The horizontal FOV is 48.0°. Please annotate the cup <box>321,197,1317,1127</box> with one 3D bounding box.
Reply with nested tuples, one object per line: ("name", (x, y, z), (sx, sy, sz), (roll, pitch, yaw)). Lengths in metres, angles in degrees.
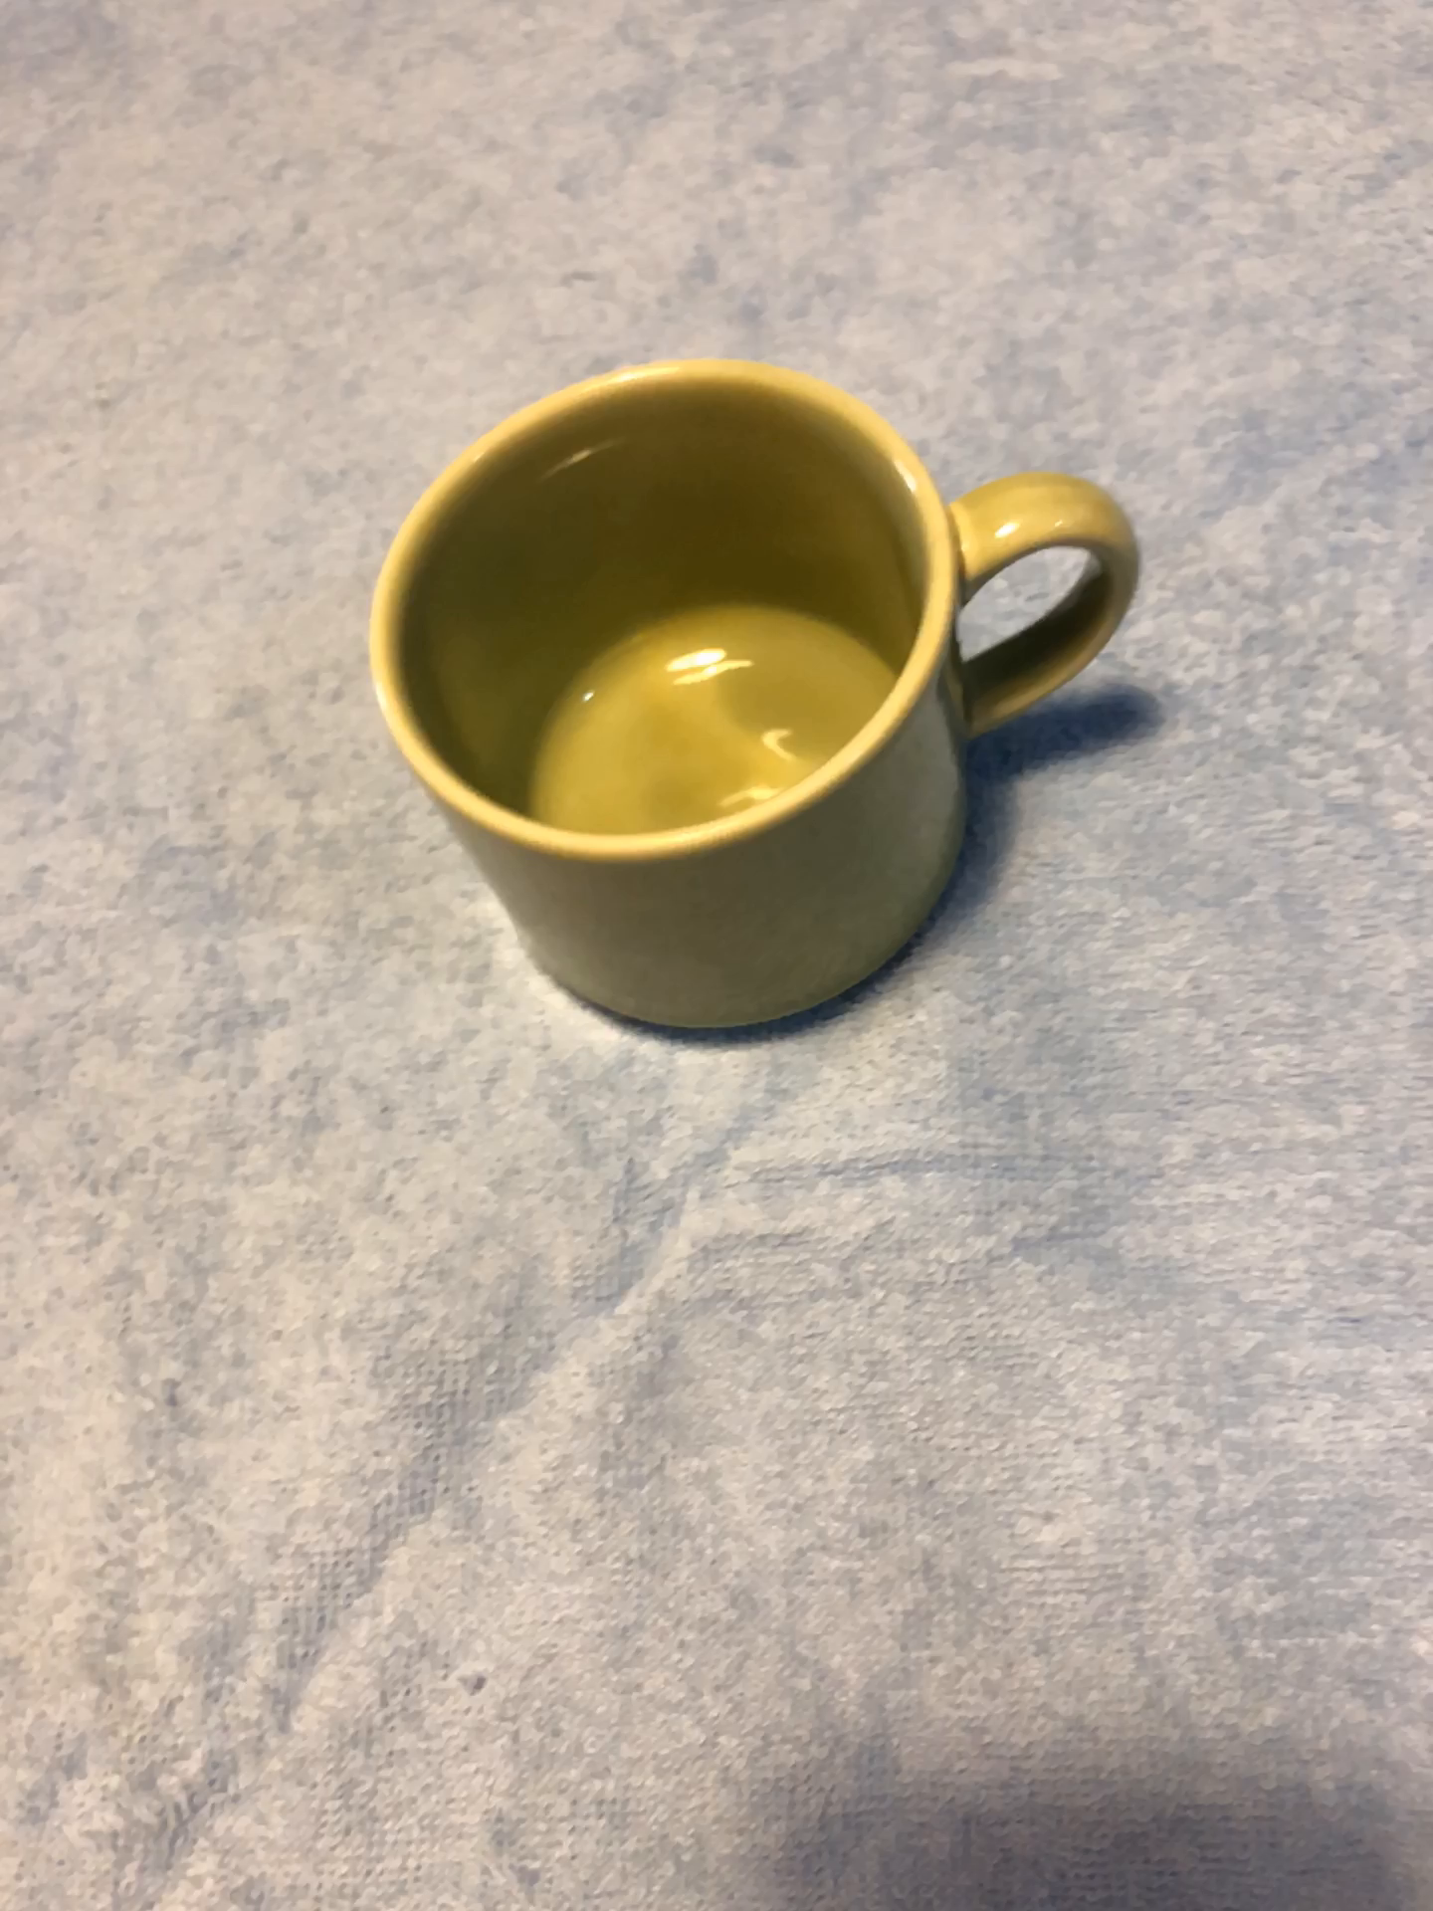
("cup", (0.011, -0.041, 0.239), (0.110, 0.060, 0.090), (-17, 63, 1))
